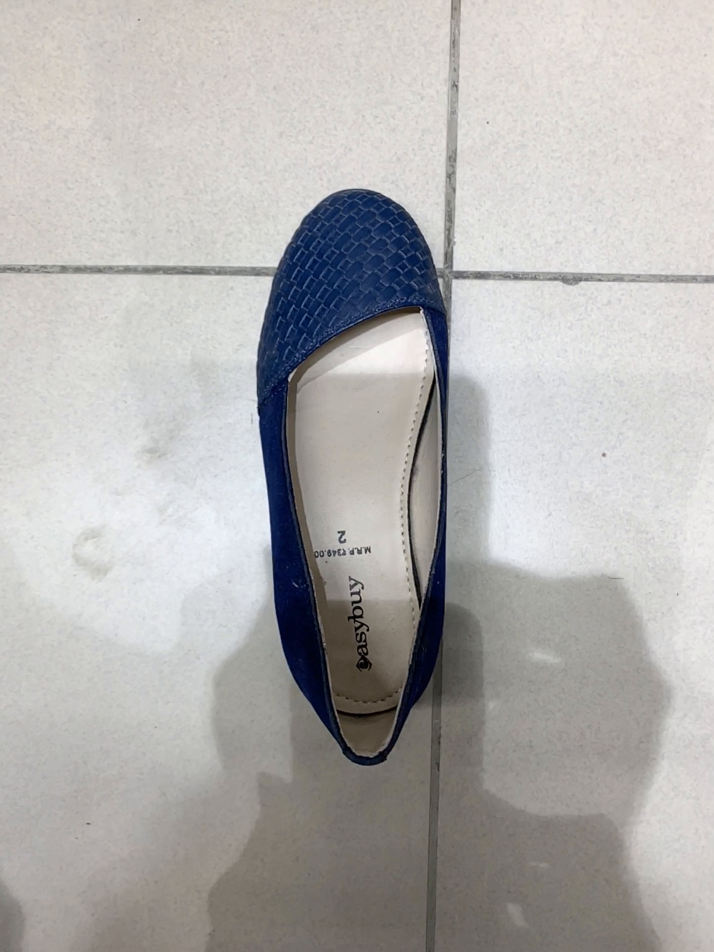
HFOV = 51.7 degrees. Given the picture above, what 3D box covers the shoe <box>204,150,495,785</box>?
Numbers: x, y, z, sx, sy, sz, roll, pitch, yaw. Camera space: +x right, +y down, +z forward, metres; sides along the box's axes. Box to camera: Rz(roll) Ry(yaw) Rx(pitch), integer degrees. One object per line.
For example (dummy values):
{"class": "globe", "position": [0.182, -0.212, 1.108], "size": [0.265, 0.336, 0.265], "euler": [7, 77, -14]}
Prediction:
{"class": "shoe", "position": [-0.002, -0.002, 0.291], "size": [0.090, 0.060, 0.220], "euler": [-4, 90, 3]}
